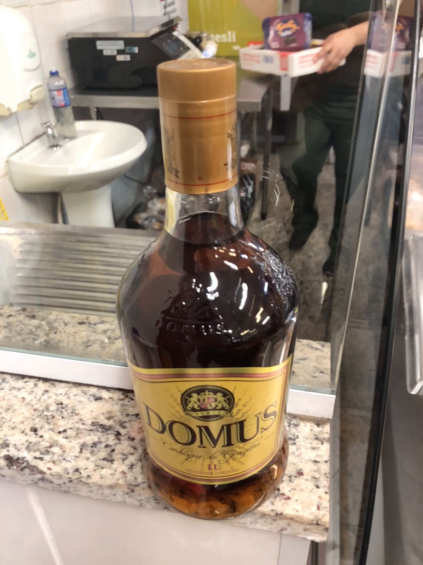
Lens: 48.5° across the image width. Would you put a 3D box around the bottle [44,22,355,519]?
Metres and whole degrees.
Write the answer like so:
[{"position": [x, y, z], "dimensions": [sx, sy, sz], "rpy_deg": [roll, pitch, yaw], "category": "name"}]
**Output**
[{"position": [-0.001, 0.006, 0.268], "dimensions": [0.100, 0.258, 0.111], "rpy_deg": [-3, 33, 0], "category": "bottle"}]
